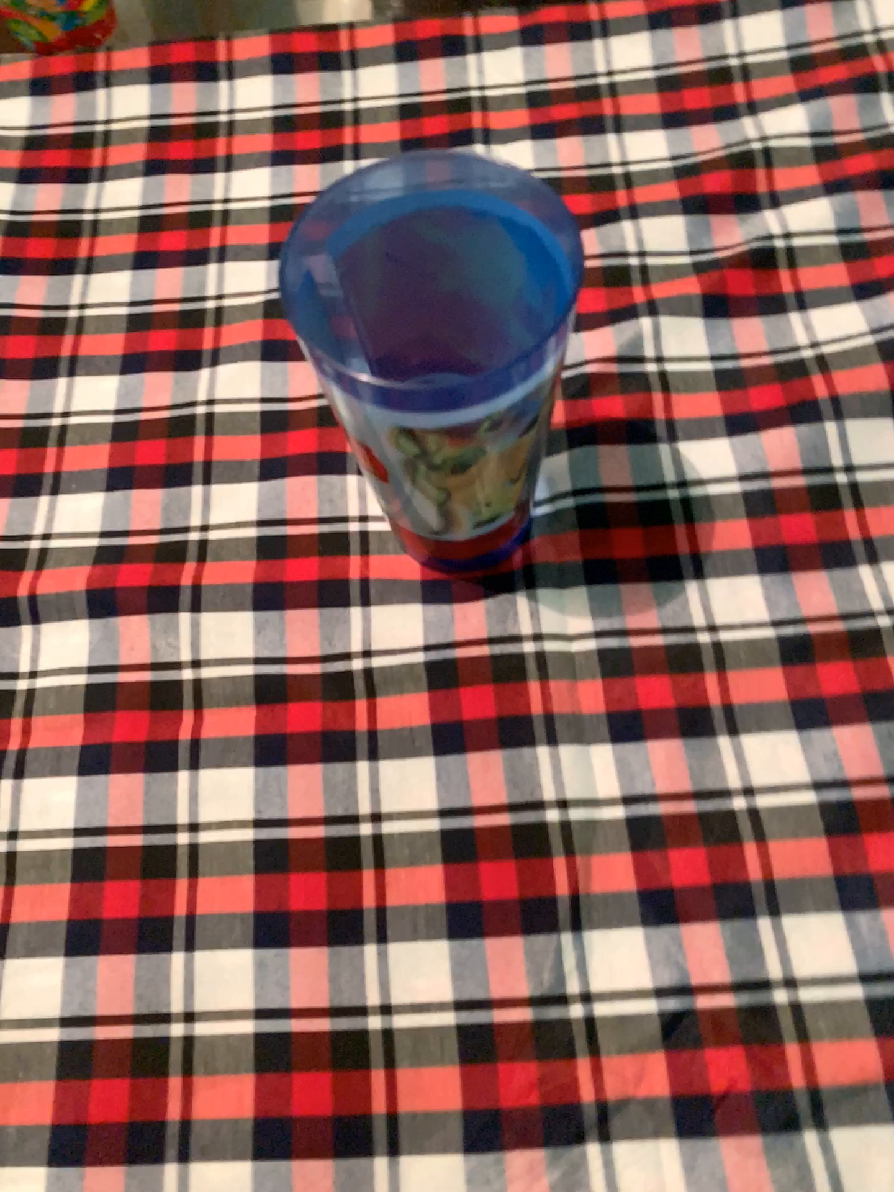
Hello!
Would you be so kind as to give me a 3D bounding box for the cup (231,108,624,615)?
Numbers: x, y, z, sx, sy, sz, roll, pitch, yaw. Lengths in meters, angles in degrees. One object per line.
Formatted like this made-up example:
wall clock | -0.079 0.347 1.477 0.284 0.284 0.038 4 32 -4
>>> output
cup | -0.005 -0.072 0.320 0.090 0.130 0.090 -2 65 4
